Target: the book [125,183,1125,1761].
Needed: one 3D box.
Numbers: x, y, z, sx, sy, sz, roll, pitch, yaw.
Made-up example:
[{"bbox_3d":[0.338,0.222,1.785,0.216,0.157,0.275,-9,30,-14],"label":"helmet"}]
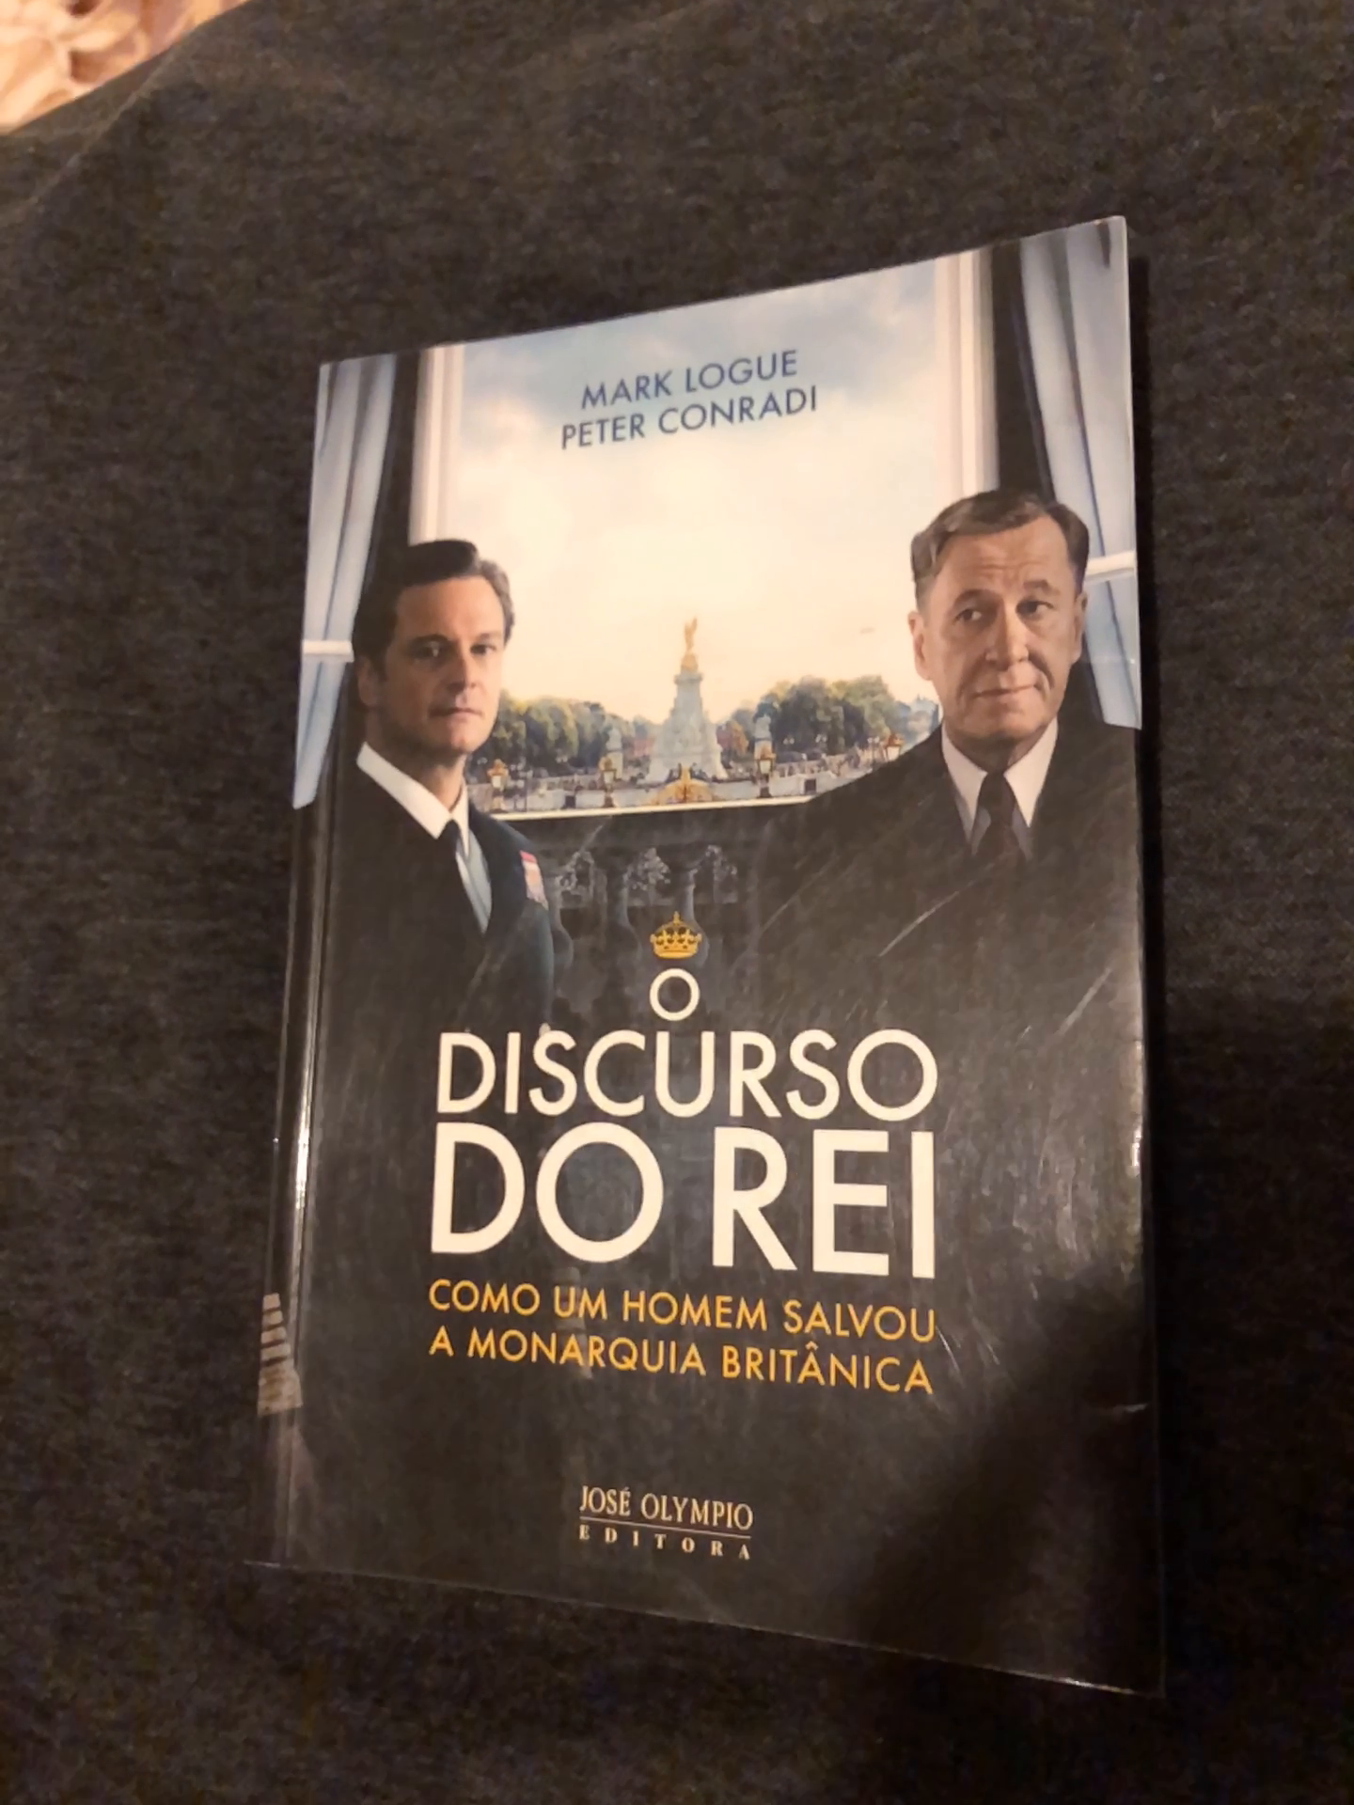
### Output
[{"bbox_3d":[-0.009,0.004,0.260,0.160,0.030,0.230,-2,79,21],"label":"book"}]
